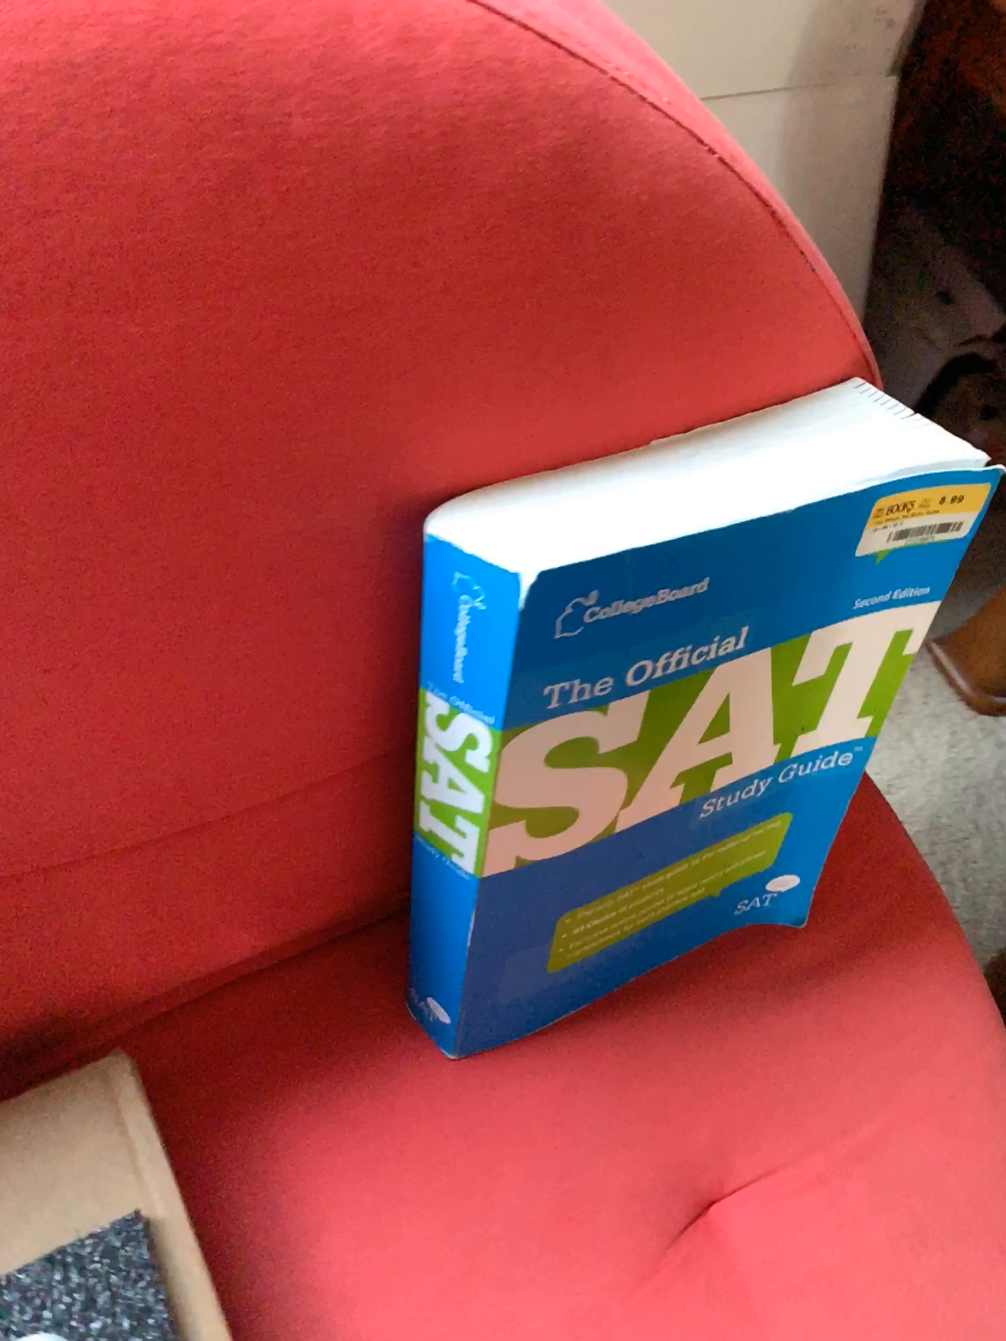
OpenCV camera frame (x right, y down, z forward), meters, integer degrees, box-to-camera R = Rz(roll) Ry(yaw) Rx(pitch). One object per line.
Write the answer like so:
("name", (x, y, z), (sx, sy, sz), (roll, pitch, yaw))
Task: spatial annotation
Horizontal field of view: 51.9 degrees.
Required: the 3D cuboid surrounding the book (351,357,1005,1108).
("book", (0.068, 0.027, 0.424), (0.231, 0.259, 0.080), (-15, 40, -23))
